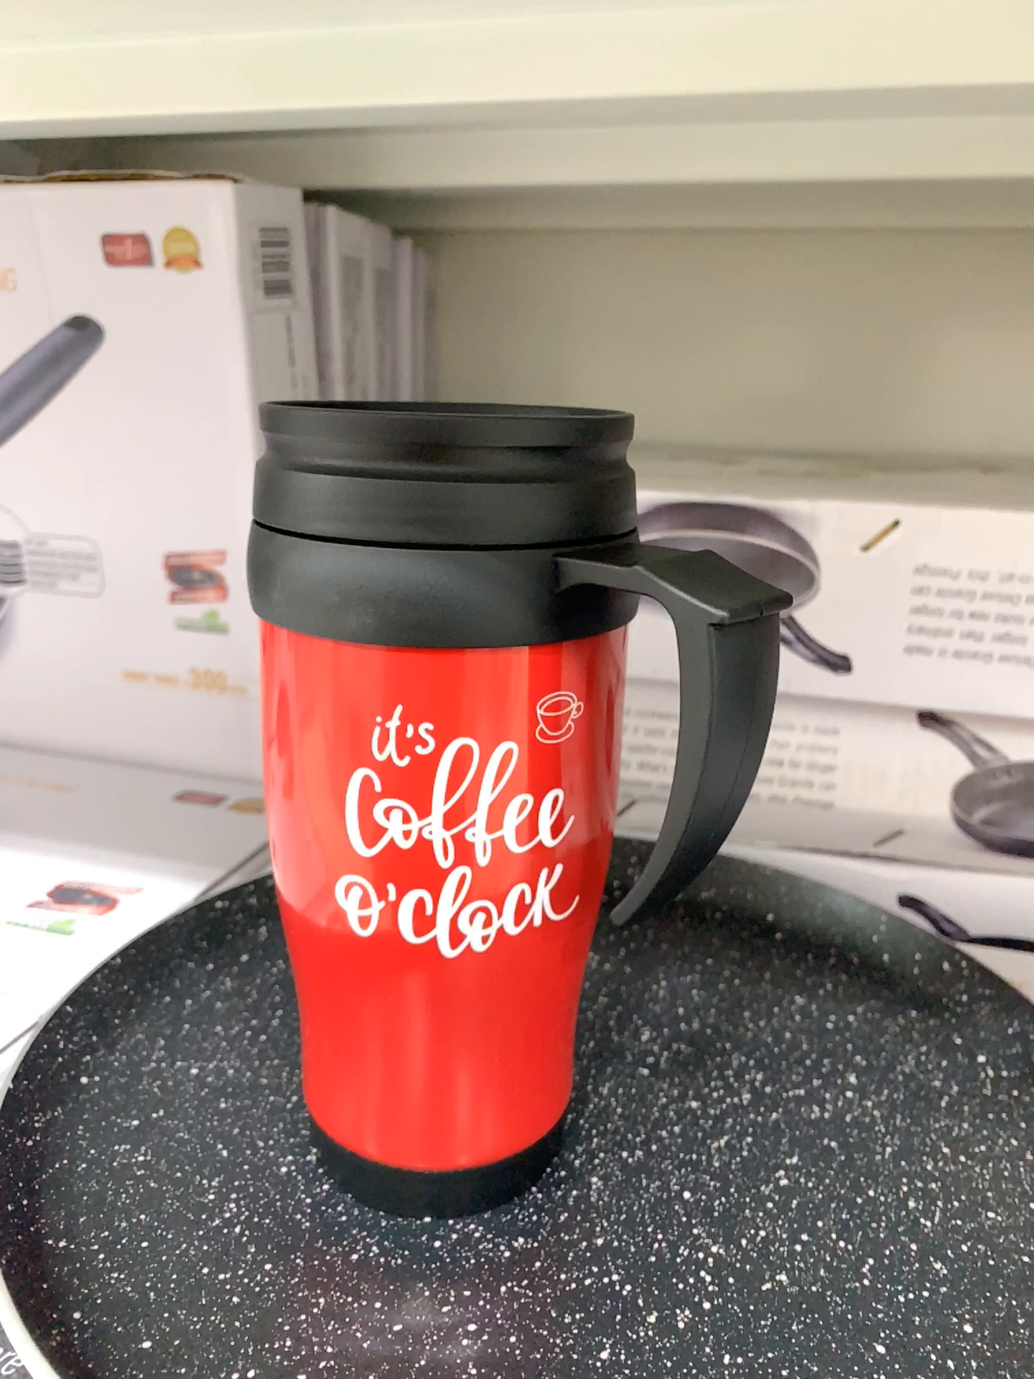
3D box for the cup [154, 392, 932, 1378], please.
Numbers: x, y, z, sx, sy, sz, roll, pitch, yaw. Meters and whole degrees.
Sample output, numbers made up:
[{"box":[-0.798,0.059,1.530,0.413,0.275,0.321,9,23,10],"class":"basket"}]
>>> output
[{"box":[0.003,0.027,0.229,0.120,0.169,0.090,12,18,35],"class":"cup"}]
